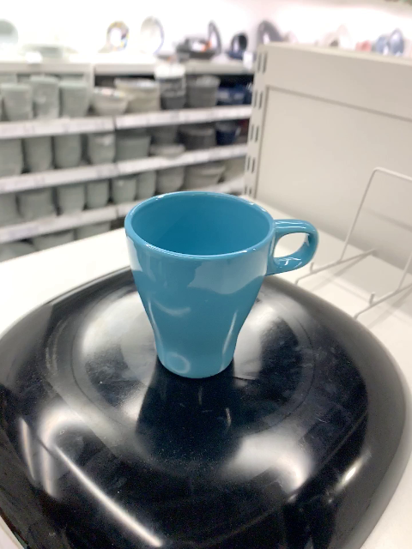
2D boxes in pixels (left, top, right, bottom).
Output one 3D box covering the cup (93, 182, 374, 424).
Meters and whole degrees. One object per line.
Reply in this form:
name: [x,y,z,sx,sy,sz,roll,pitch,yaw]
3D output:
cup: [0.008,0.008,0.281,0.140,0.100,0.100,-8,33,-20]
